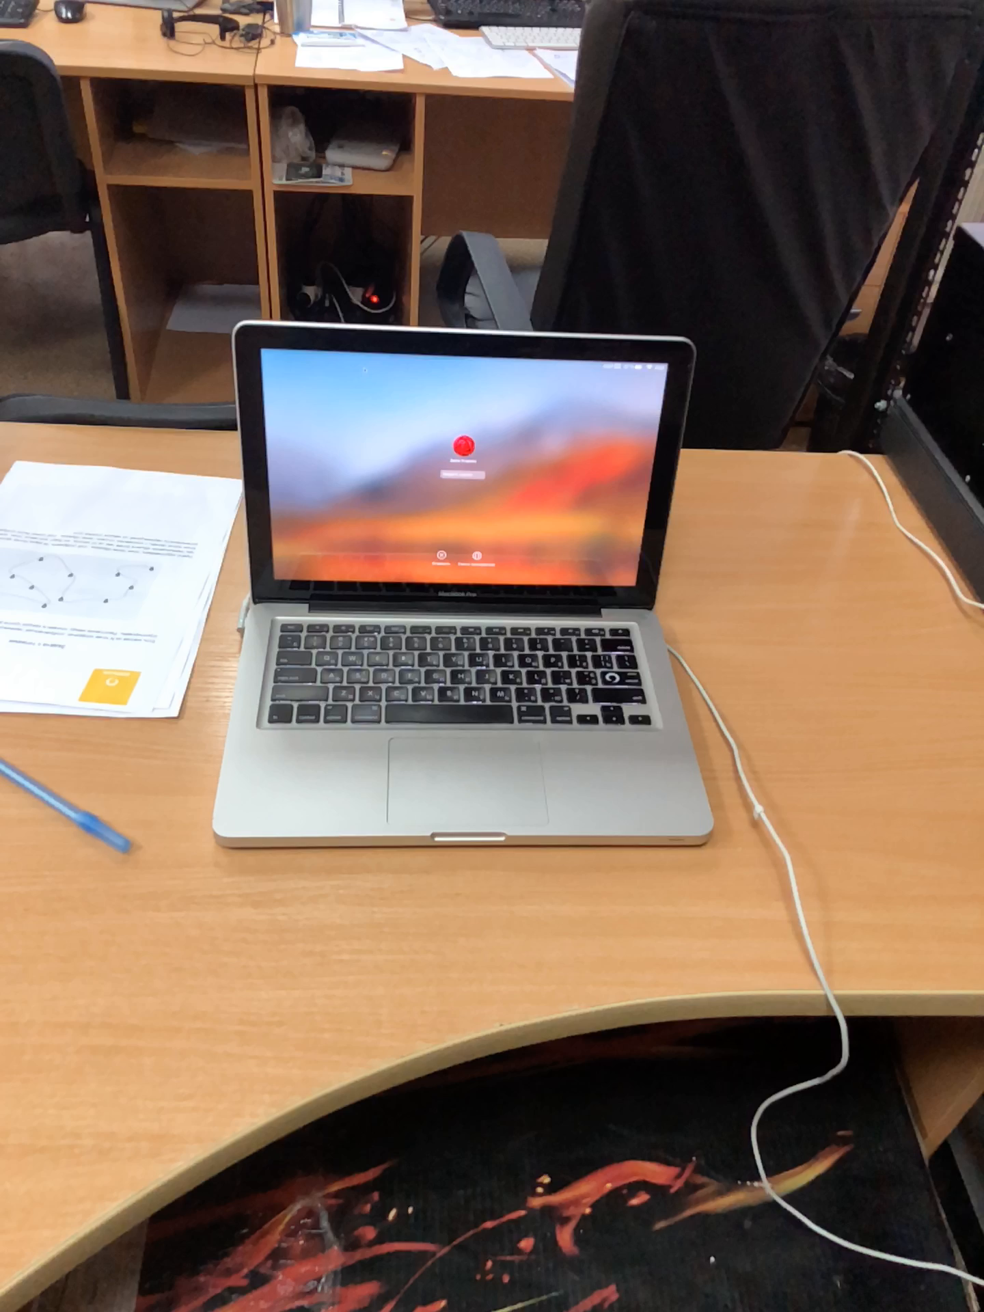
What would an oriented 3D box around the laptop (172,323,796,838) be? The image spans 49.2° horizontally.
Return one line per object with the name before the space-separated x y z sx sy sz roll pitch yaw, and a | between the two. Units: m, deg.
laptop | -0.016 -0.055 0.707 0.315 0.207 0.267 0 42 -6
